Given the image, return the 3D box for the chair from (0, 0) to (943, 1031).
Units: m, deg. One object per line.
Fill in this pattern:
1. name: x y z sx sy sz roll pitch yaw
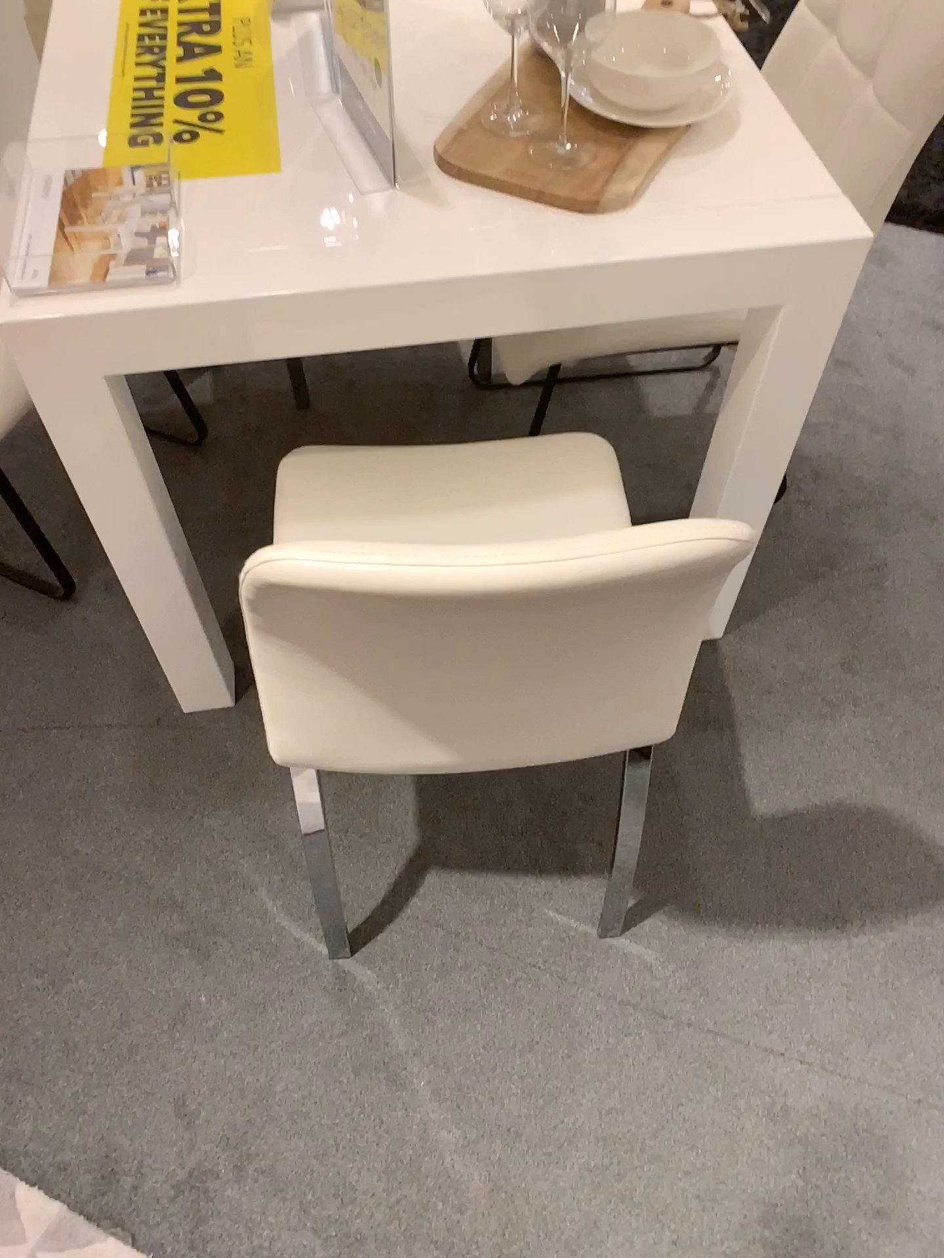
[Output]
1. chair: -0.012 -0.034 1.029 0.479 0.956 0.649 -3 55 -2
